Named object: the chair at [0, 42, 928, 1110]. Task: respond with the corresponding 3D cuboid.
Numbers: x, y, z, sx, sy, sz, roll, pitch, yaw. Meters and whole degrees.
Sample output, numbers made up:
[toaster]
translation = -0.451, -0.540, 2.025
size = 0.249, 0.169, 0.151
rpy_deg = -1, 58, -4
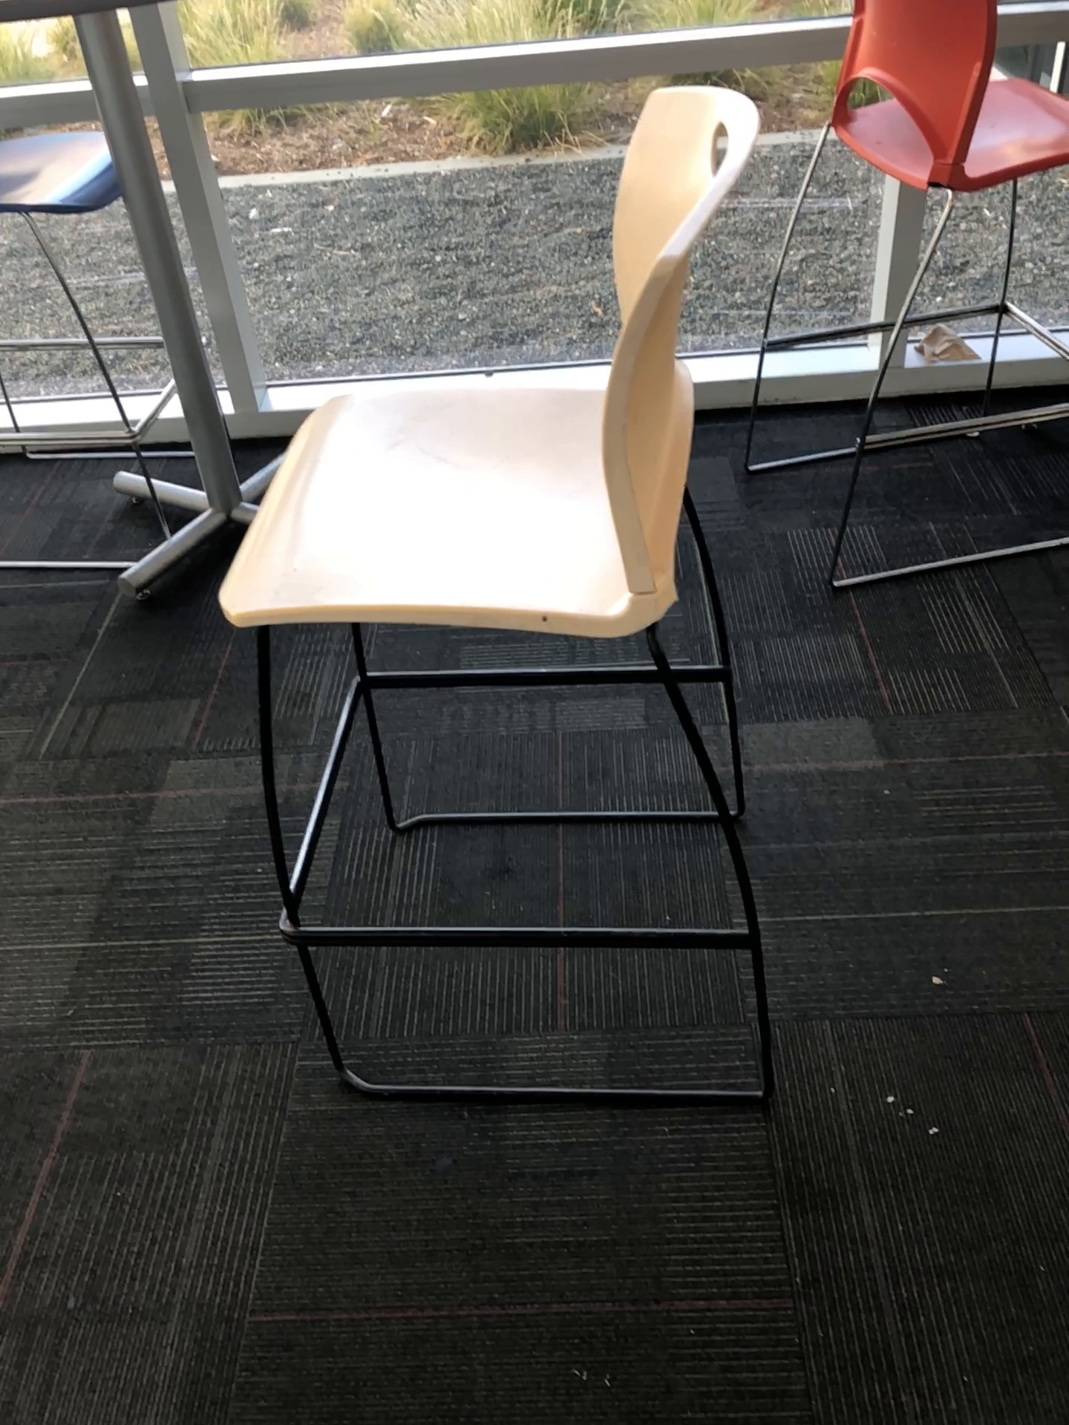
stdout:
[chair]
translation = -0.057, -0.096, 1.312
size = 0.720, 0.995, 0.583
rpy_deg = -2, 40, 5
